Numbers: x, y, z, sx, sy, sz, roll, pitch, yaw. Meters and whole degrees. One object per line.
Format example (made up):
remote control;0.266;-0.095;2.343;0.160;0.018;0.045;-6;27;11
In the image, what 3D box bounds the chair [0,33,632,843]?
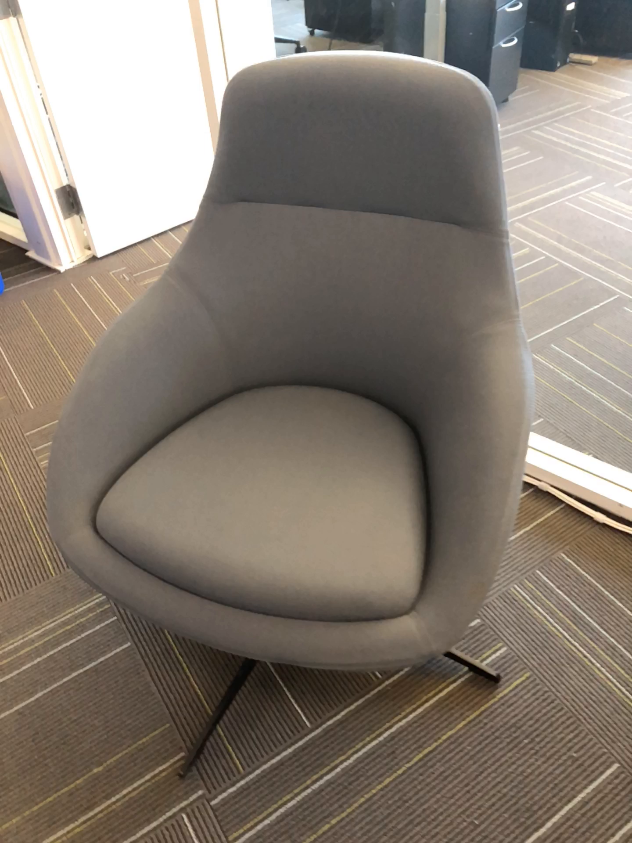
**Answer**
chair;-0.060;-0.002;1.260;0.931;0.995;0.963;13;45;19
